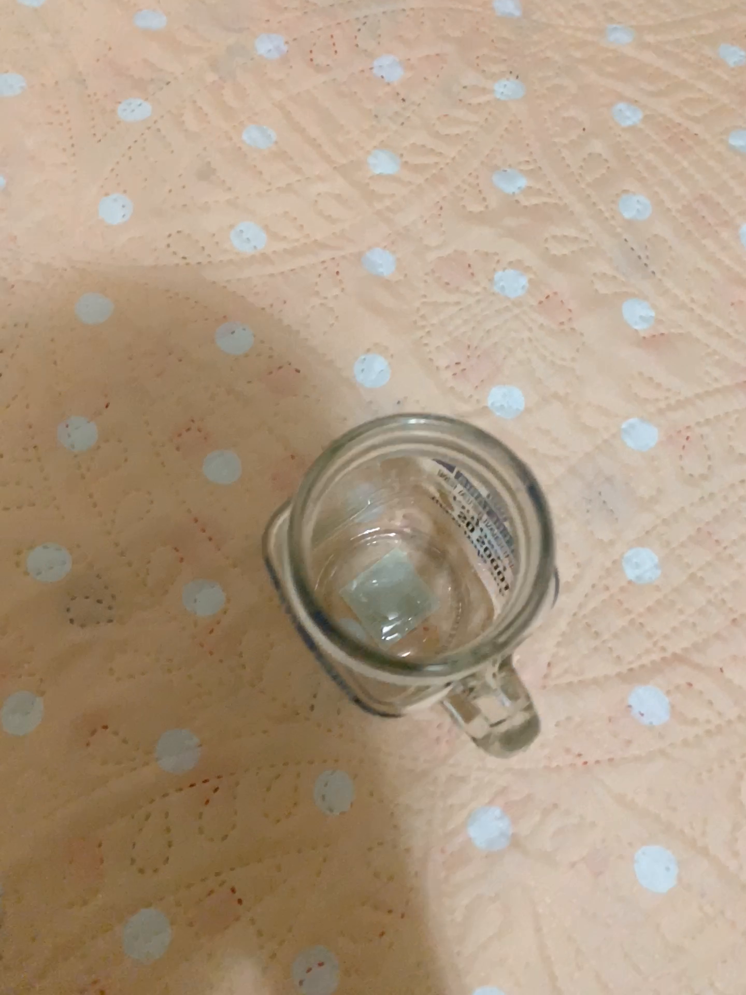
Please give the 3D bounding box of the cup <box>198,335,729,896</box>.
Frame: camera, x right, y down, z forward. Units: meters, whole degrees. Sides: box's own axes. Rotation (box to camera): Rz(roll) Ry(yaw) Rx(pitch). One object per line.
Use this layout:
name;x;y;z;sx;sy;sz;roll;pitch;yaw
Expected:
cup;0.015;0.038;0.229;0.080;0.120;0.100;-28;76;-13
